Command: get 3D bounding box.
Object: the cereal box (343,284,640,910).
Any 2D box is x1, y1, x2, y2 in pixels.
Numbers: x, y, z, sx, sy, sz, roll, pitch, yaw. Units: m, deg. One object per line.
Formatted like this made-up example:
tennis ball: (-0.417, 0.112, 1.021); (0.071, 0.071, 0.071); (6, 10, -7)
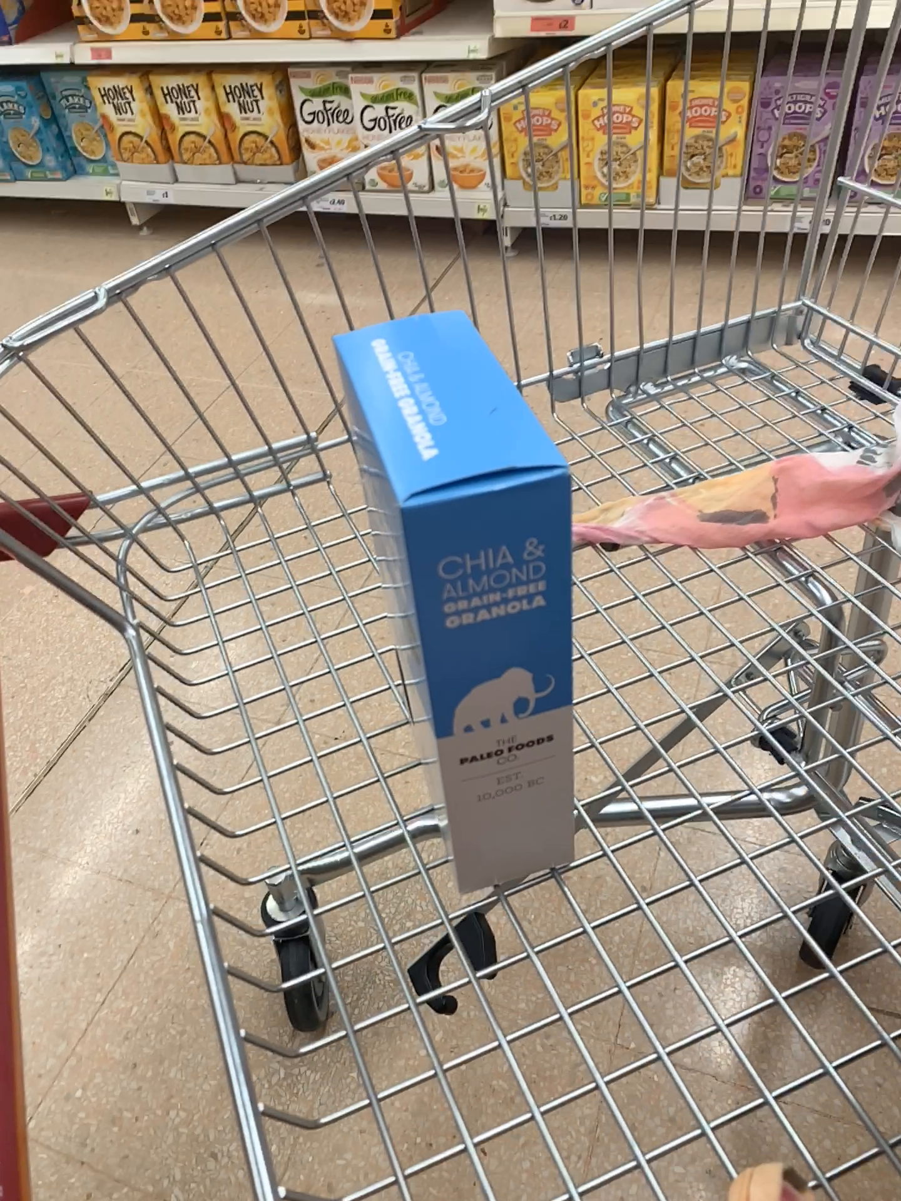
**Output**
cereal box: (0.015, 0.004, 0.378); (0.060, 0.208, 0.141); (-14, 43, -8)
